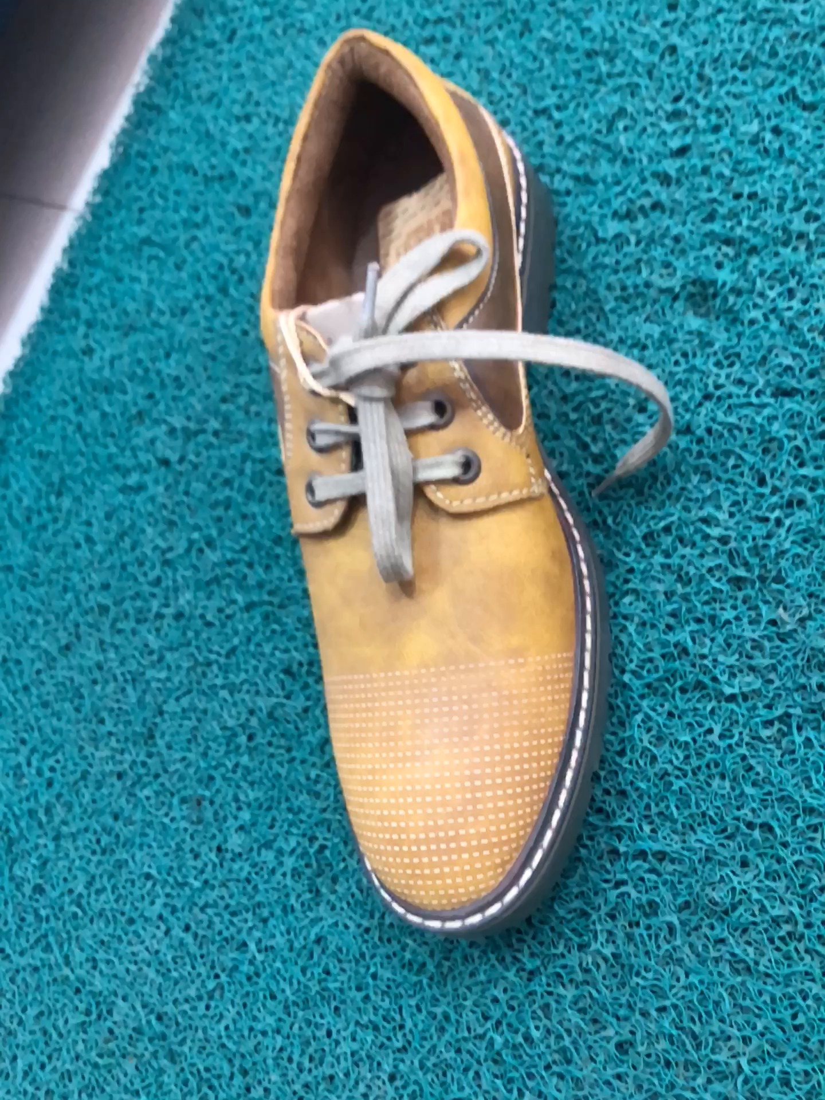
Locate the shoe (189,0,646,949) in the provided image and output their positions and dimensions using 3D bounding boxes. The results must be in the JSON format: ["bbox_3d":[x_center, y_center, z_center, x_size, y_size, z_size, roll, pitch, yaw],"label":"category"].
[{"bbox_3d":[0.004,-0.030,0.328,0.100,0.110,0.300,-10,71,27],"label":"shoe"}]
